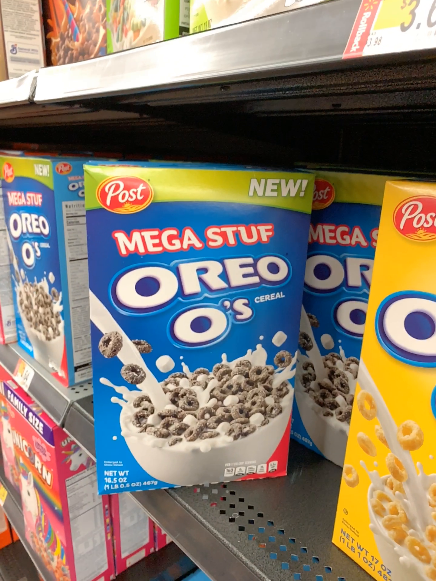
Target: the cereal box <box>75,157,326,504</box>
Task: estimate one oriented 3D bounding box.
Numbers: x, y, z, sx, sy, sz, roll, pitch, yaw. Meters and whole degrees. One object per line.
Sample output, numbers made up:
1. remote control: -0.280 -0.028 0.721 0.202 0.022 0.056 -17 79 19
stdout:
1. cereal box: -0.022 0.040 0.460 0.210 0.329 0.080 -2 18 -12
